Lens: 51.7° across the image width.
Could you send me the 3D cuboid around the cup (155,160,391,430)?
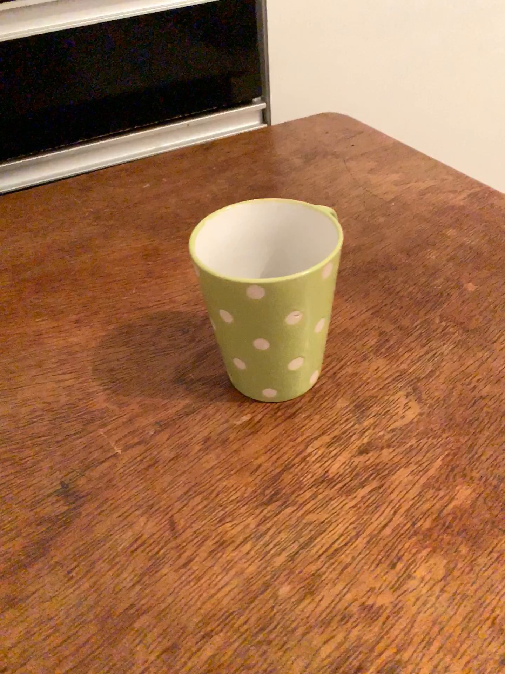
[{"bbox_3d":[0.020,-0.032,0.323,0.090,0.099,0.121,15,46,22],"label":"cup"}]
